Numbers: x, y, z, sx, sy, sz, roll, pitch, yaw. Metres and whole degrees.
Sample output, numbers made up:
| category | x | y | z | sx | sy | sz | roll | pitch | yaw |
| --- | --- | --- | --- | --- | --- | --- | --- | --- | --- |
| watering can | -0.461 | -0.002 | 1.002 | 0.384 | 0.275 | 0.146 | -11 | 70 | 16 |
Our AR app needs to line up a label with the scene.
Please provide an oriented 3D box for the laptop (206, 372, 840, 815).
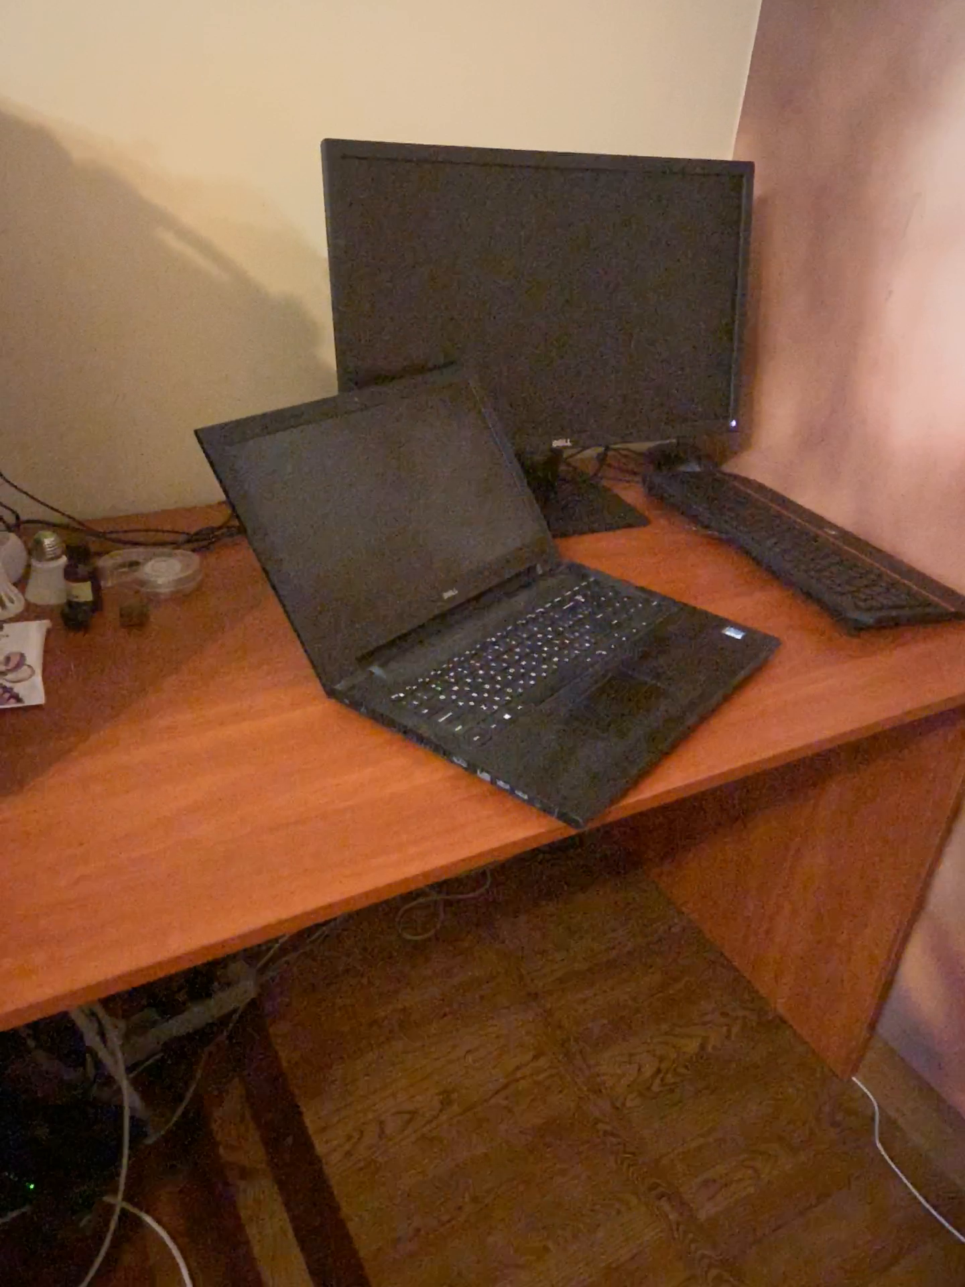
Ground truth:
| category | x | y | z | sx | sy | sz | roll | pitch | yaw |
| --- | --- | --- | --- | --- | --- | --- | --- | --- | --- |
| laptop | 0.035 | -0.086 | 0.859 | 0.392 | 0.181 | 0.357 | 23 | 33 | 31 |
